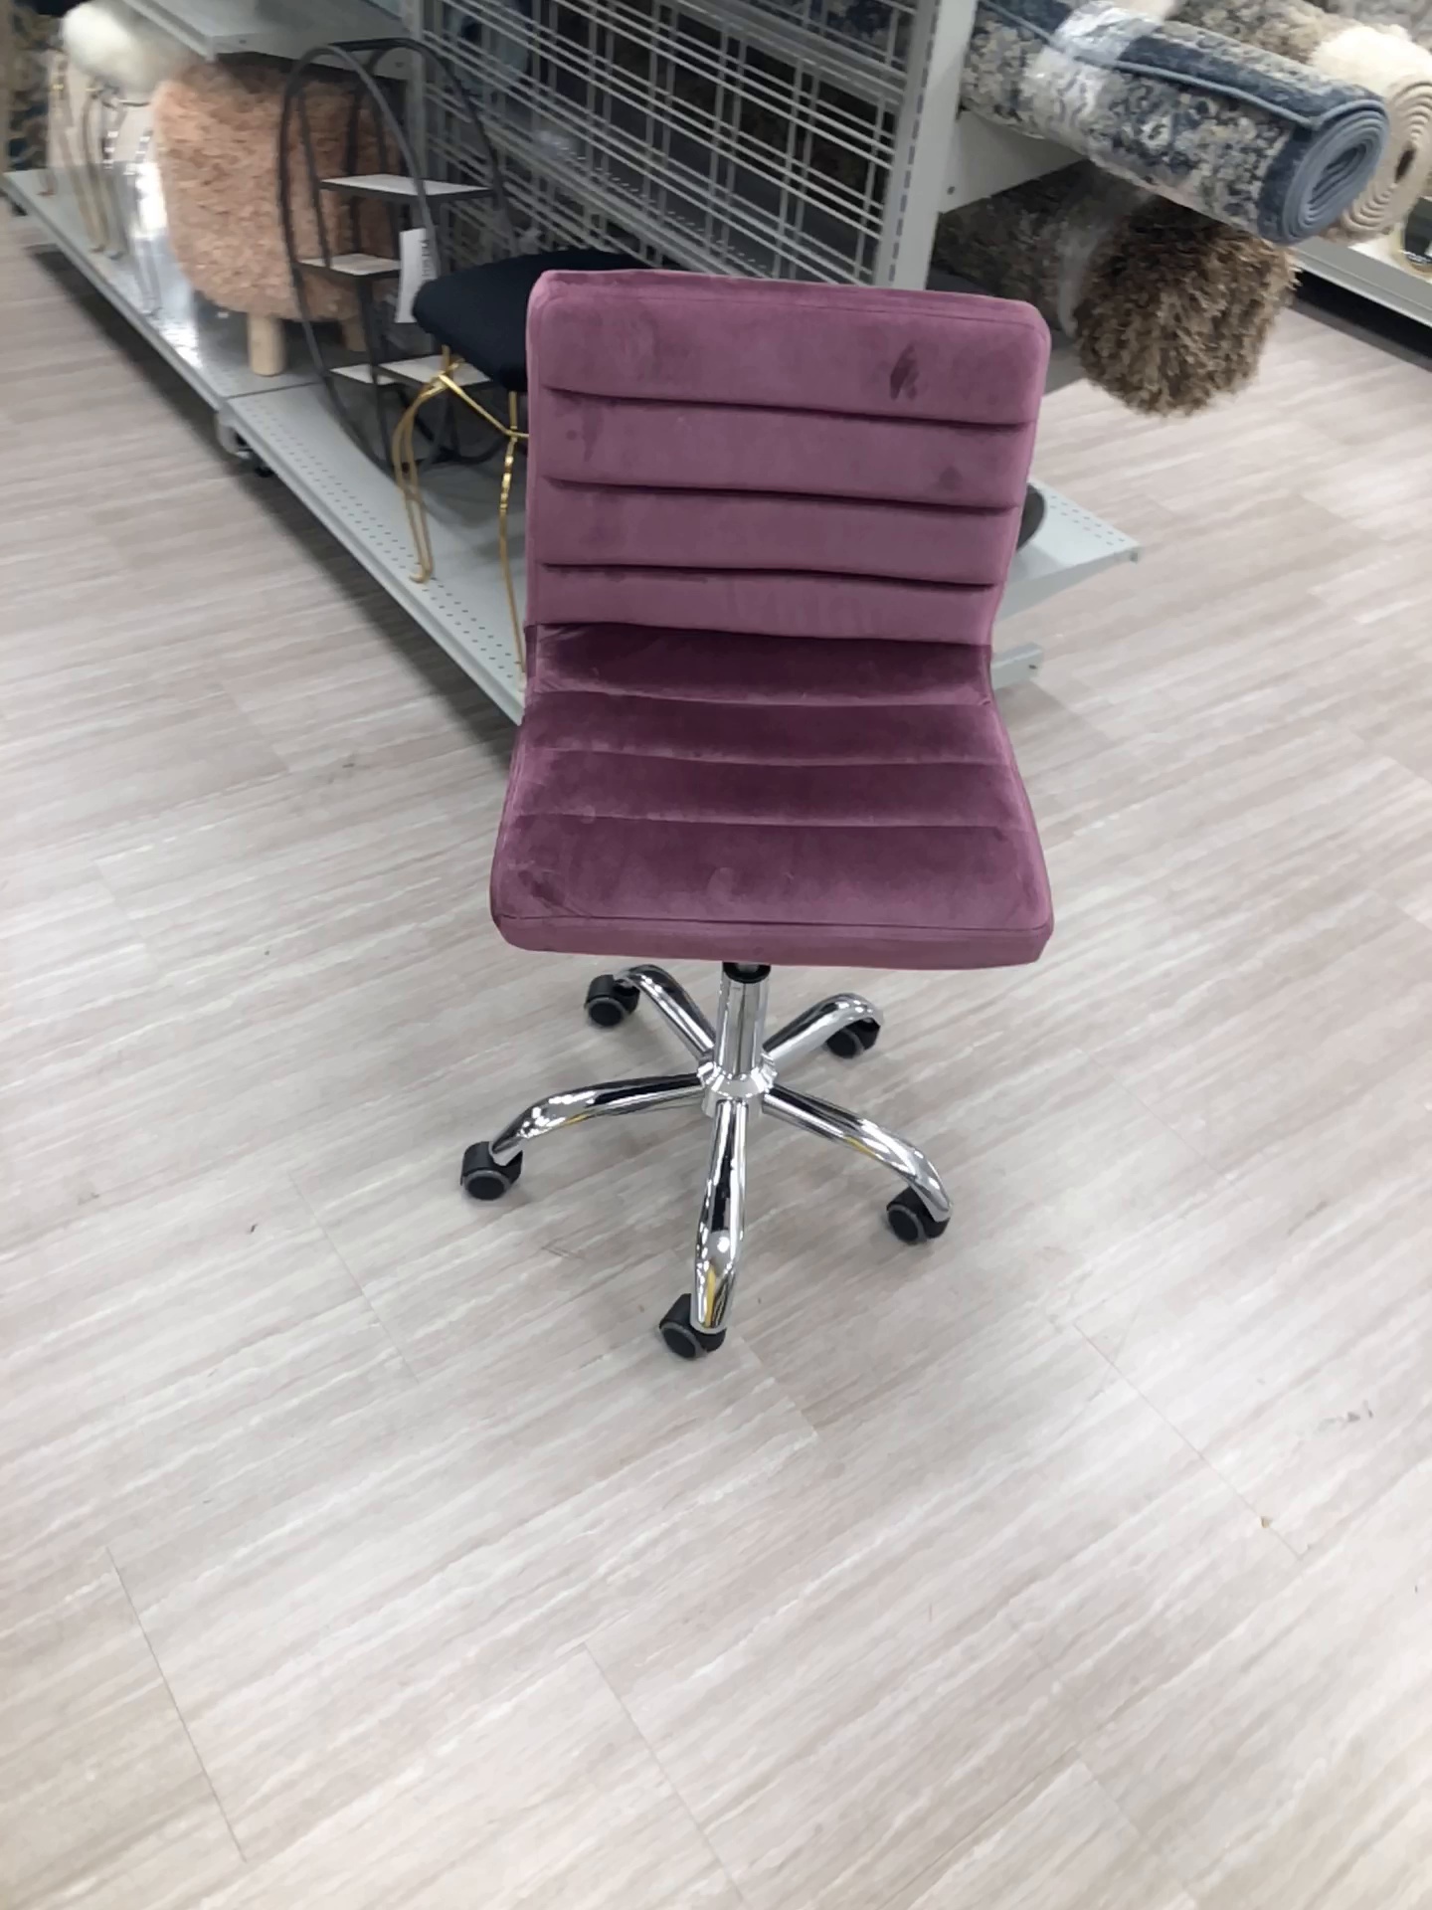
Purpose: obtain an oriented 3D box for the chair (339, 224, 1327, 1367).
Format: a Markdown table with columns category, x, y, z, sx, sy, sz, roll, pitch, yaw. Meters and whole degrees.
| category | x | y | z | sx | sy | sz | roll | pitch | yaw |
| --- | --- | --- | --- | --- | --- | --- | --- | --- | --- |
| chair | 0.022 | -0.111 | 1.400 | 0.587 | 0.800 | 0.580 | 1 | 43 | -7 |
